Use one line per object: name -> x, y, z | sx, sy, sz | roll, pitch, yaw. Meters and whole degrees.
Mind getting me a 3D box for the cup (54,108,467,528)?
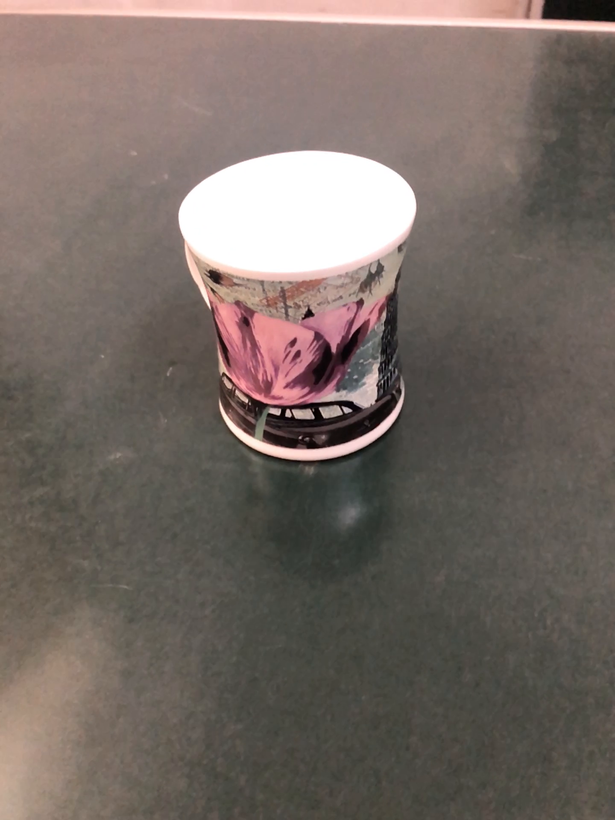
cup -> -0.015, -0.042, 0.287 | 0.120, 0.110, 0.090 | 27, 54, 28
